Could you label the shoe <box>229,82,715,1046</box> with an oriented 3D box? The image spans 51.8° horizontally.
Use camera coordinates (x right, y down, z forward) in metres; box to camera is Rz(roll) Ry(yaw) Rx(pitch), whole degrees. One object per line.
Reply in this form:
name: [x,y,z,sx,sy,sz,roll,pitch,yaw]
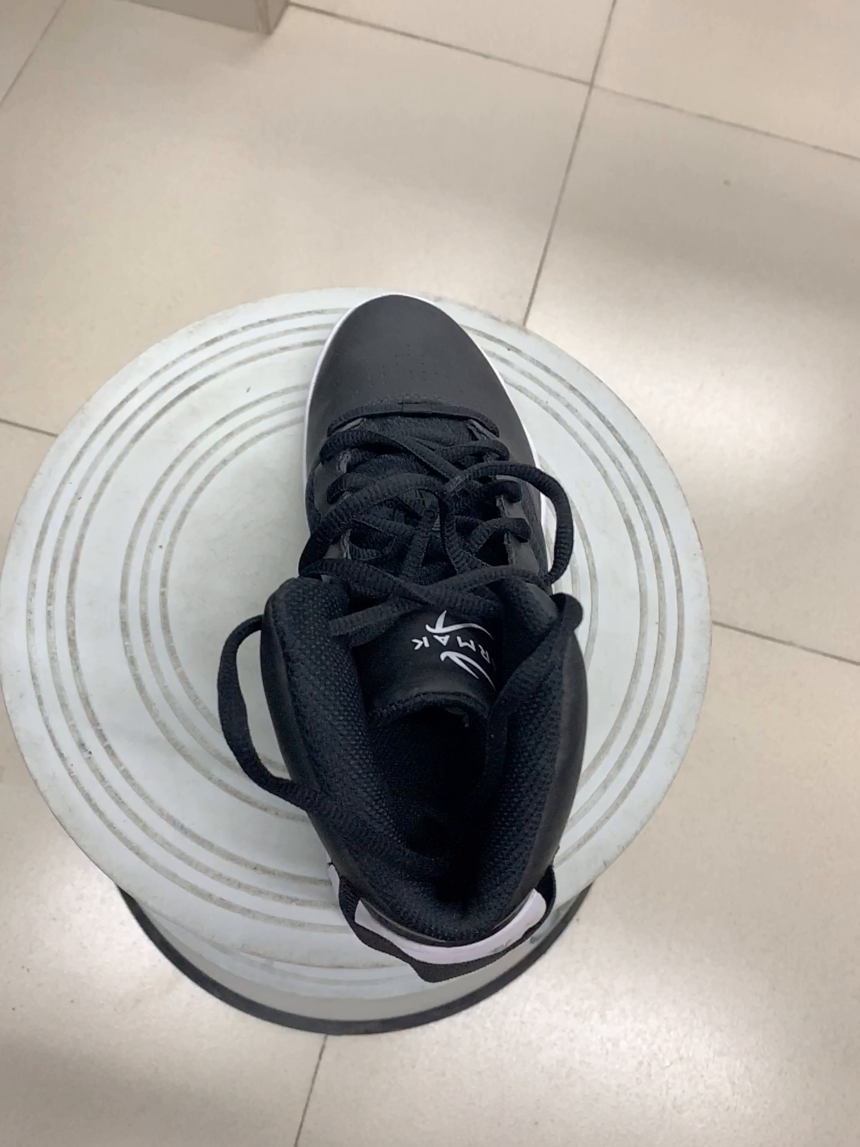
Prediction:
shoe: [-0.004,-0.010,0.258,0.090,0.100,0.240,-4,70,-6]
